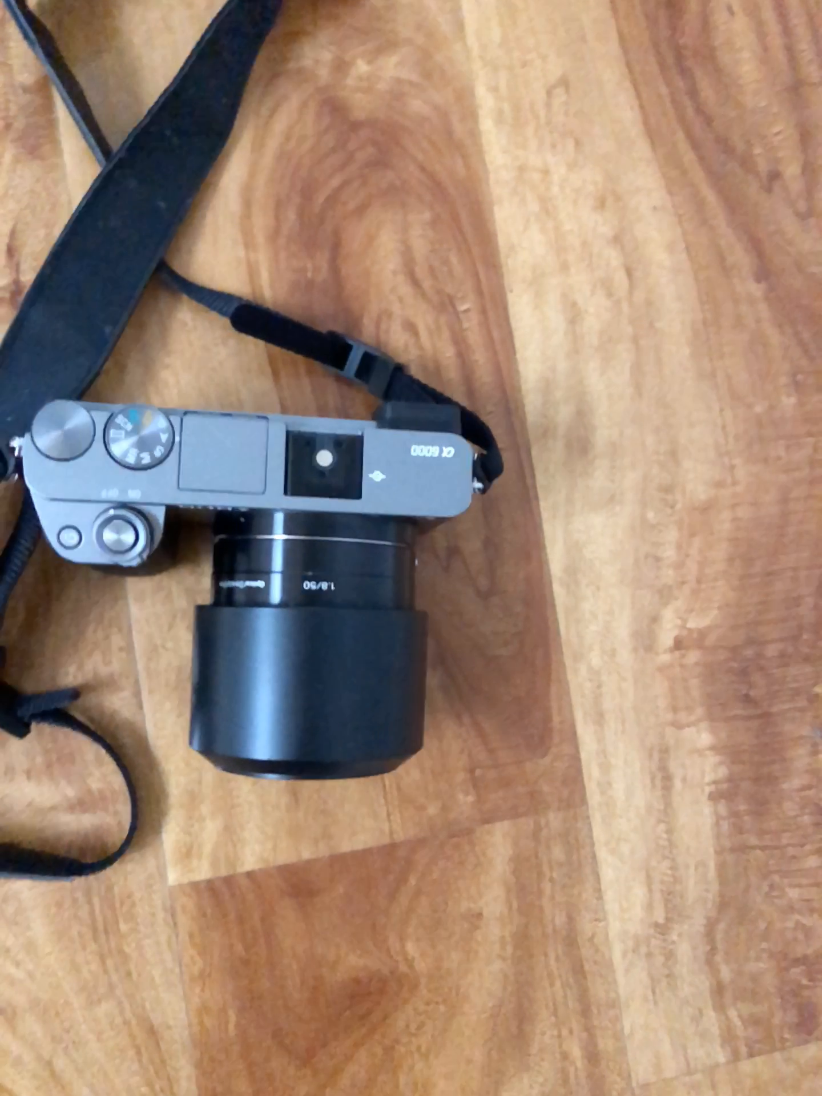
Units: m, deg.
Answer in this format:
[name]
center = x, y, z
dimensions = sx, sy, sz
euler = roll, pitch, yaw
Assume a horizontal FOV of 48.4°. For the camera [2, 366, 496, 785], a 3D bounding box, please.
[camera]
center = -0.046, 0.010, 0.284
dimensions = 0.130, 0.070, 0.110
euler = 1, 86, -8
